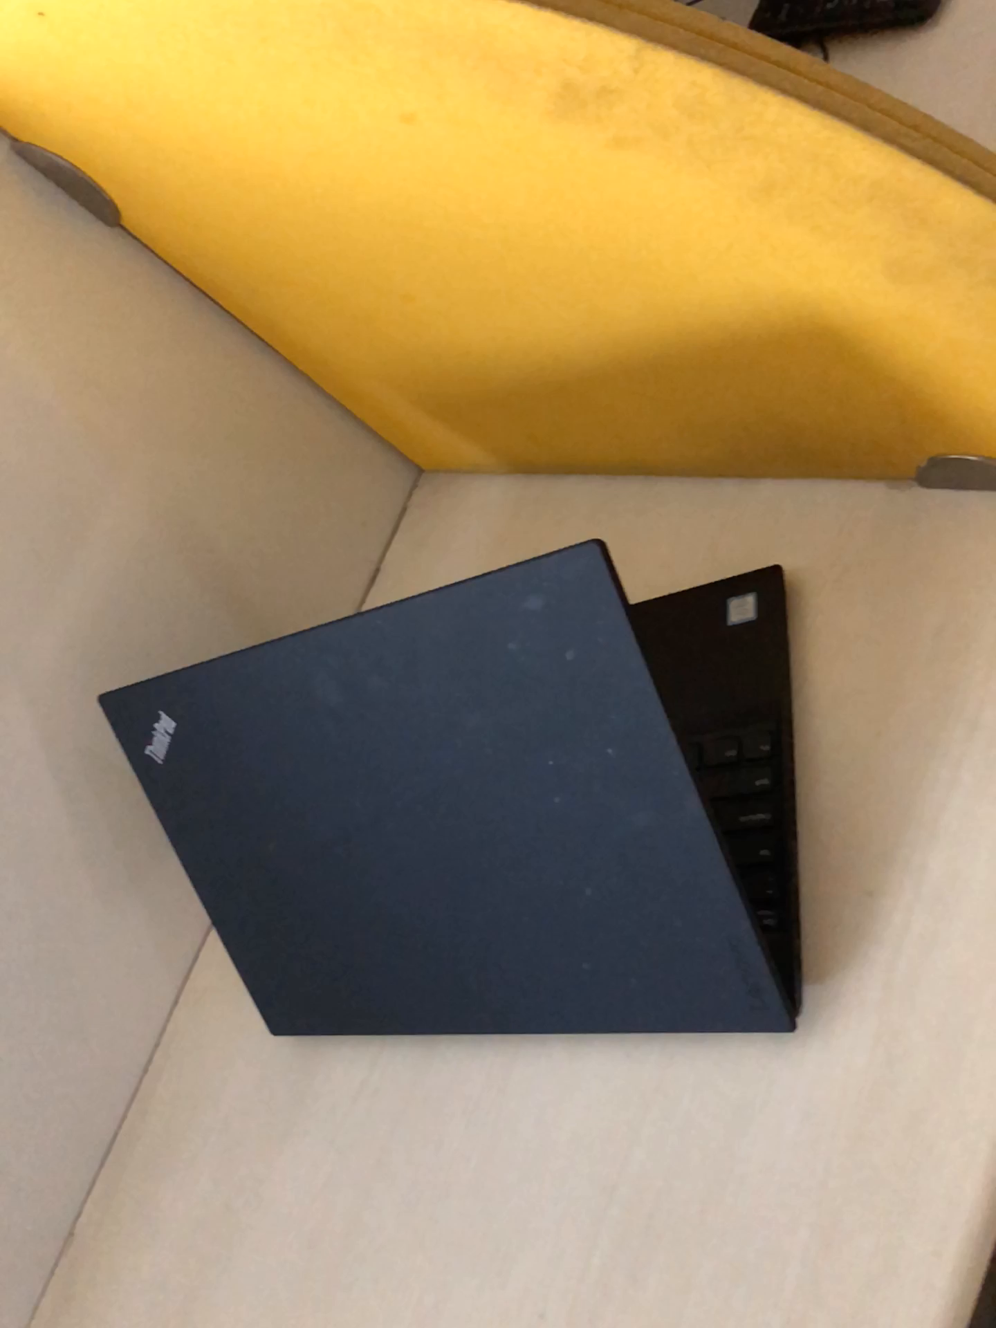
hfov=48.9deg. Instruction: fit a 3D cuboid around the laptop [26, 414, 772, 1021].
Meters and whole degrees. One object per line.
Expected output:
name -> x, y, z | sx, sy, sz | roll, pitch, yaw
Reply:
laptop -> -0.048, 0.056, 0.600 | 0.350, 0.166, 0.240 | -16, 52, 36
